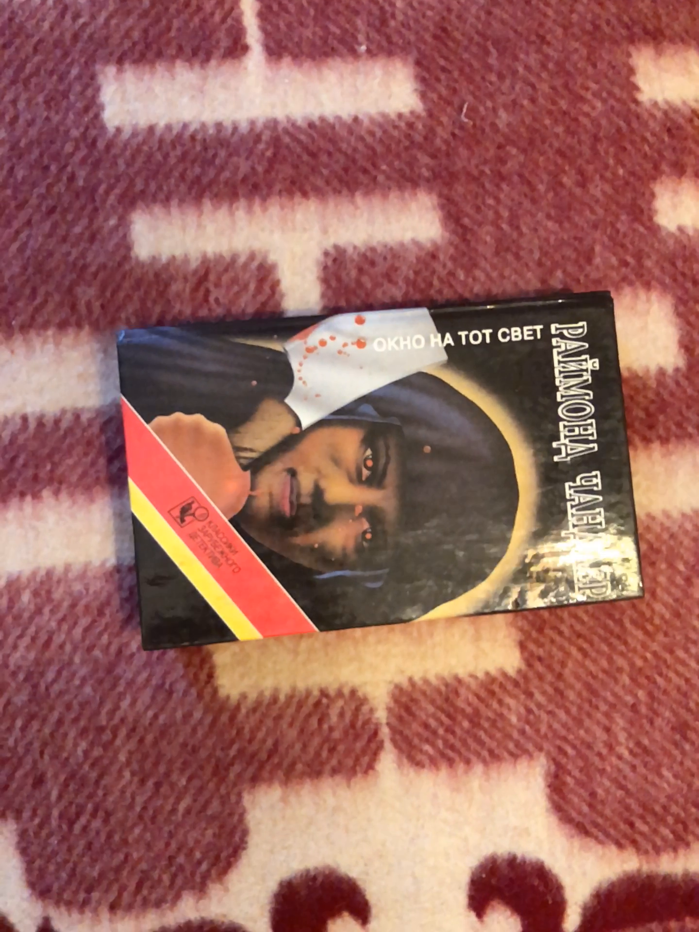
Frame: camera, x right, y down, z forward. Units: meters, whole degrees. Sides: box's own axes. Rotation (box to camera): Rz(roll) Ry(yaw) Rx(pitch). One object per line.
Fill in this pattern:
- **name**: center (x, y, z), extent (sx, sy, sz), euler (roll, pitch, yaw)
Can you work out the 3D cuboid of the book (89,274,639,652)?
- **book**: center (0.006, -0.002, 0.327), extent (0.208, 0.033, 0.133), euler (-5, 88, -2)
